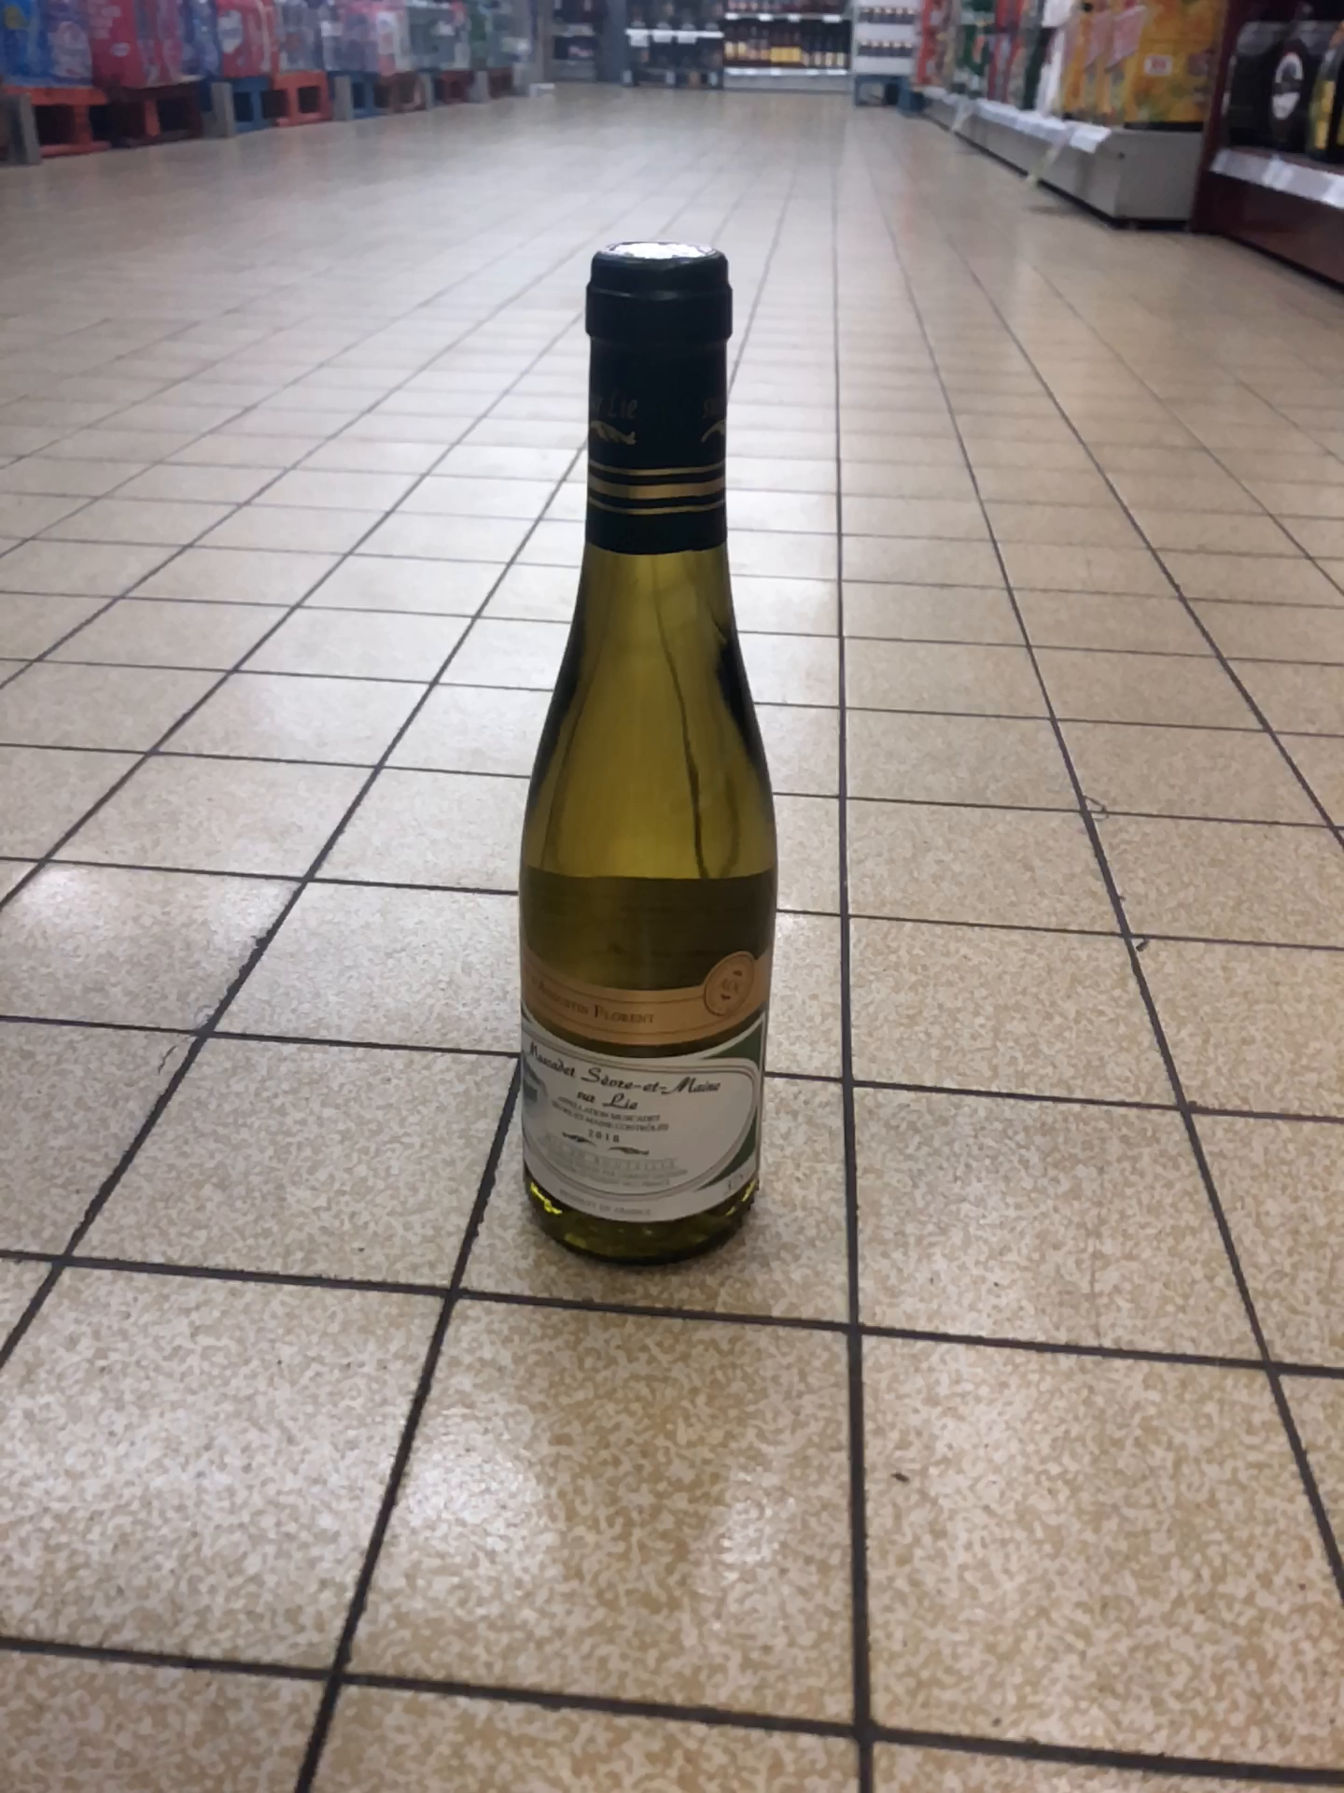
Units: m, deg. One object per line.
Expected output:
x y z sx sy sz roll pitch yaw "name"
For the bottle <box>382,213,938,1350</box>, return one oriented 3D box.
-0.002 -0.023 0.344 0.080 0.239 0.081 1 29 -1 "bottle"
